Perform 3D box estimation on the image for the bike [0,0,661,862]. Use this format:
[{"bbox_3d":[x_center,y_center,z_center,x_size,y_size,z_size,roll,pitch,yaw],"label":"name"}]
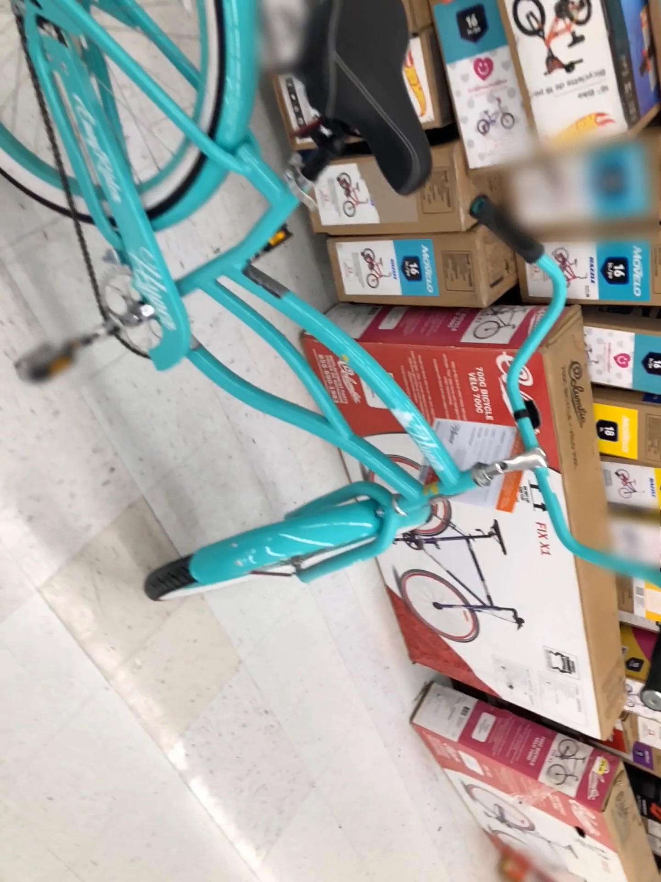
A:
[{"bbox_3d":[0.009,-0.306,1.142,0.853,1.152,1.587,-54,131,-29],"label":"bike"}]
